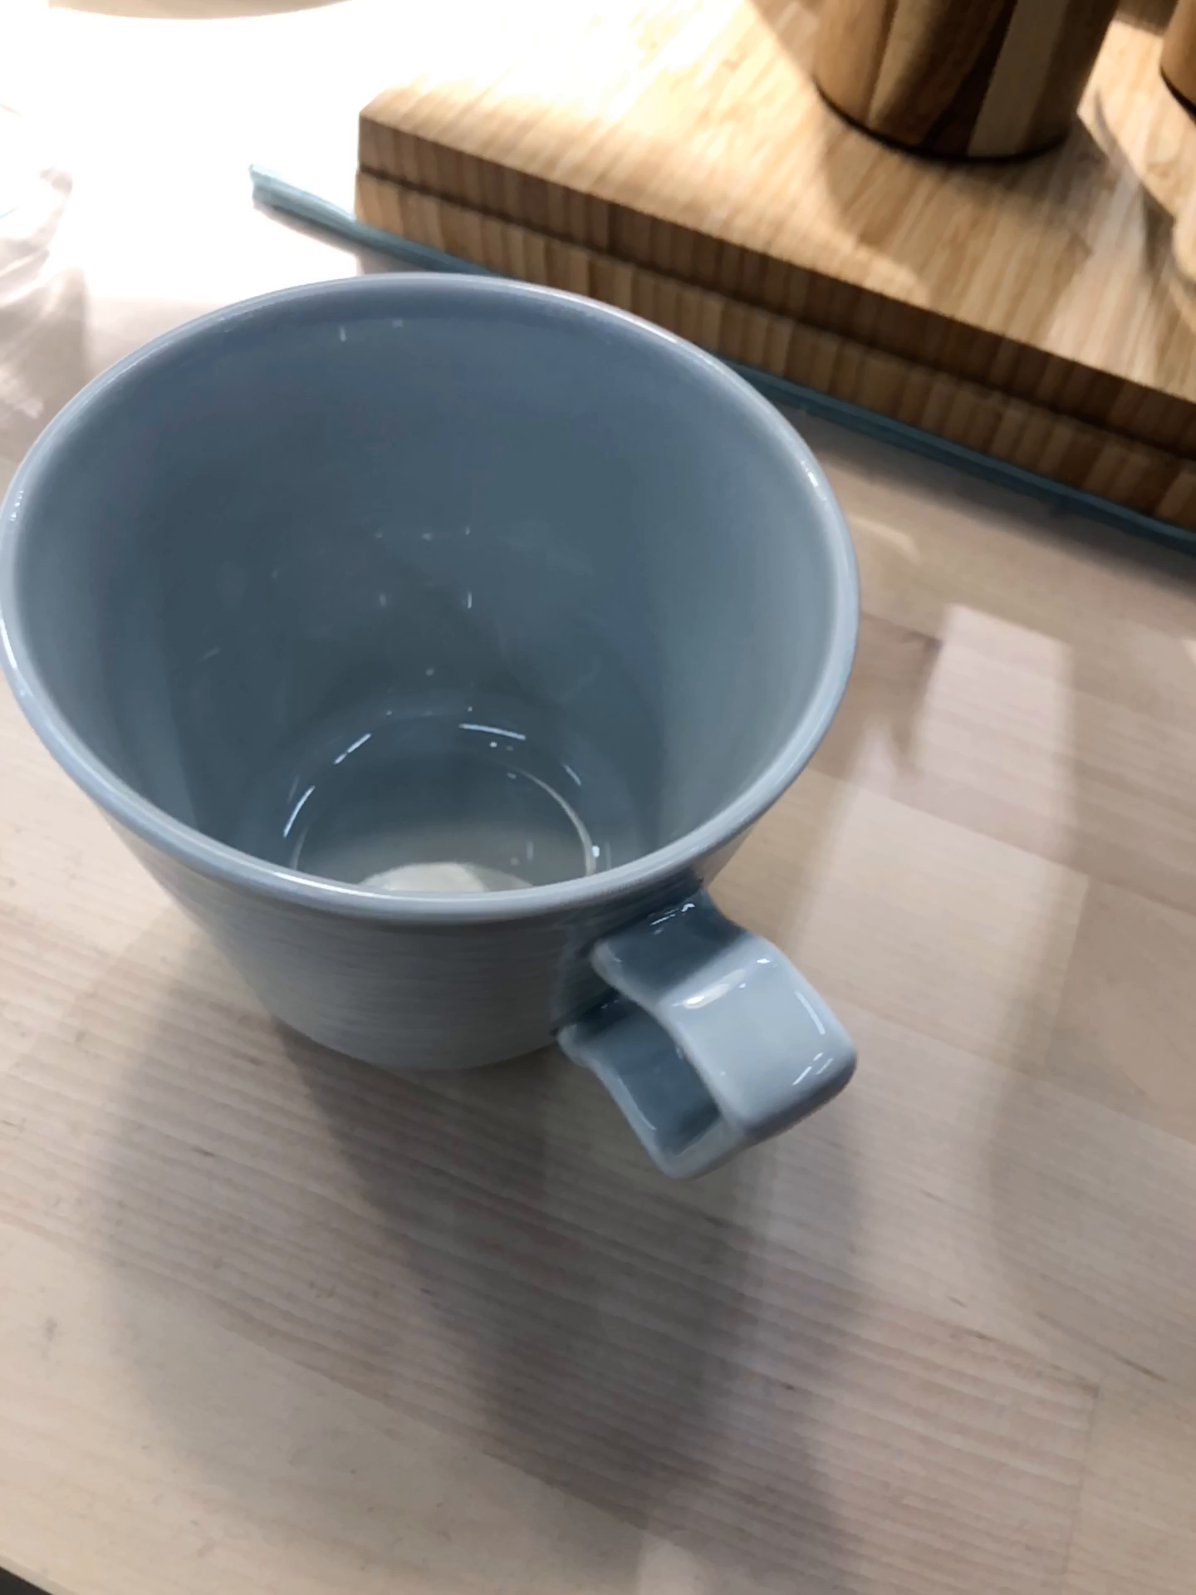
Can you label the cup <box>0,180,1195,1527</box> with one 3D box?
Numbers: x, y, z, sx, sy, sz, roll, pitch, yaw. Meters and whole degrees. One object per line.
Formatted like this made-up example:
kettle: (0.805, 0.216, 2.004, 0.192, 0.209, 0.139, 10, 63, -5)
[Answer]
cup: (-0.015, -0.001, 0.191, 0.110, 0.080, 0.140, -26, 62, -21)
